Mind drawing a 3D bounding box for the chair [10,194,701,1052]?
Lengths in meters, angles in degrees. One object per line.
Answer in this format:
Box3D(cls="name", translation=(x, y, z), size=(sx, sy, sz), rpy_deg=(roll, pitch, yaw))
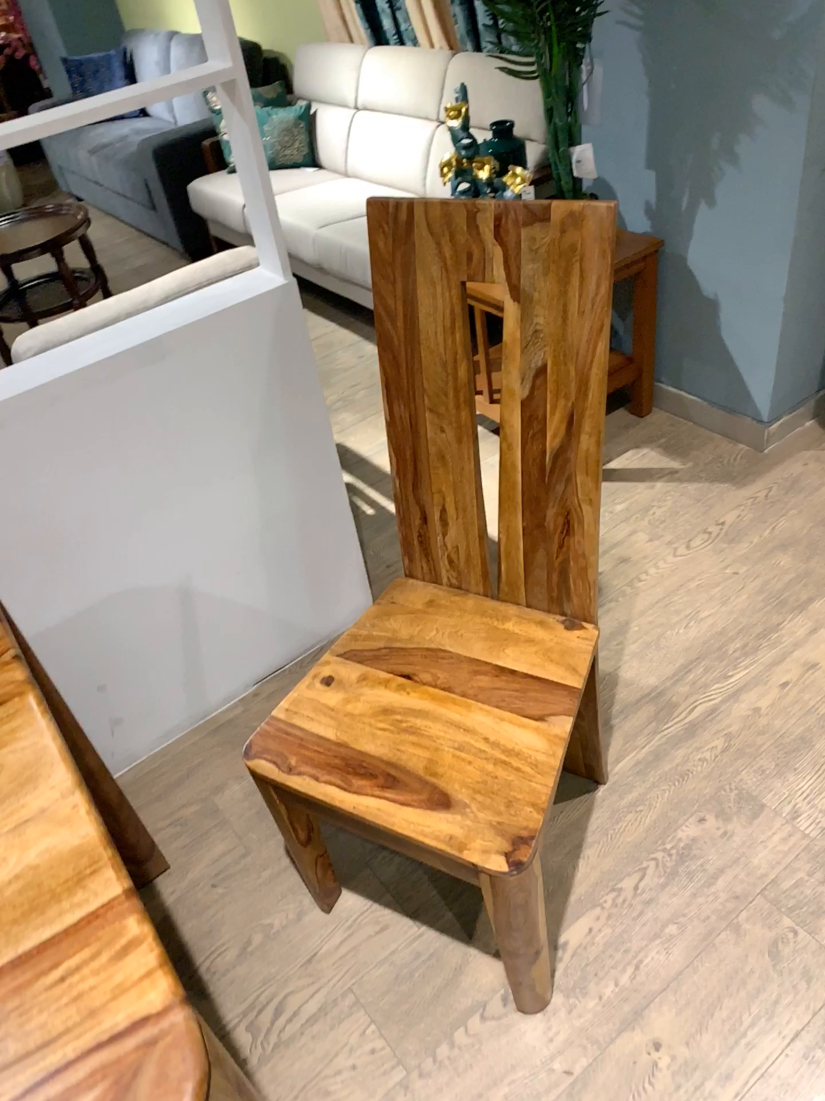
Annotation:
Box3D(cls="chair", translation=(0.049, 0.104, 1.174), size=(0.501, 0.966, 0.602), rpy_deg=(11, 44, 25))
